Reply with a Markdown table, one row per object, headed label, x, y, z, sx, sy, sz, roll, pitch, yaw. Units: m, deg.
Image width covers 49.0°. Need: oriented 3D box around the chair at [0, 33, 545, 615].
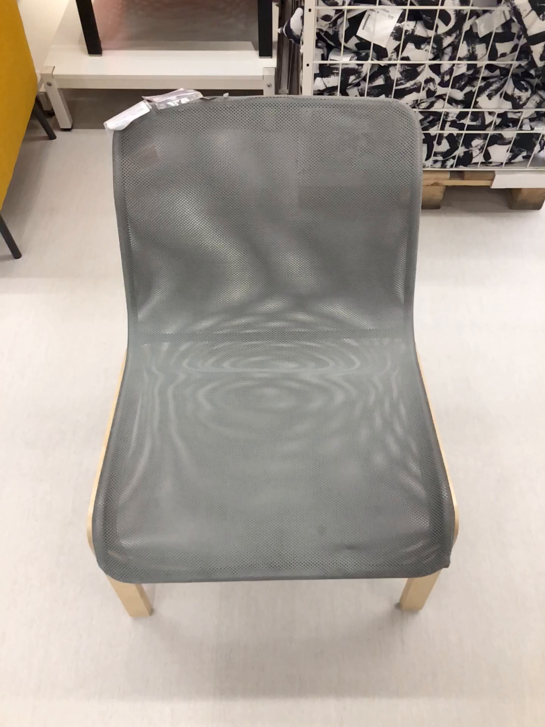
| label | x | y | z | sx | sy | sz | roll | pitch | yaw |
| --- | --- | --- | --- | --- | --- | --- | --- | --- | --- |
| chair | -0.002 | 0.015 | 1.045 | 0.630 | 0.826 | 0.643 | -1 | 57 | 0 |
